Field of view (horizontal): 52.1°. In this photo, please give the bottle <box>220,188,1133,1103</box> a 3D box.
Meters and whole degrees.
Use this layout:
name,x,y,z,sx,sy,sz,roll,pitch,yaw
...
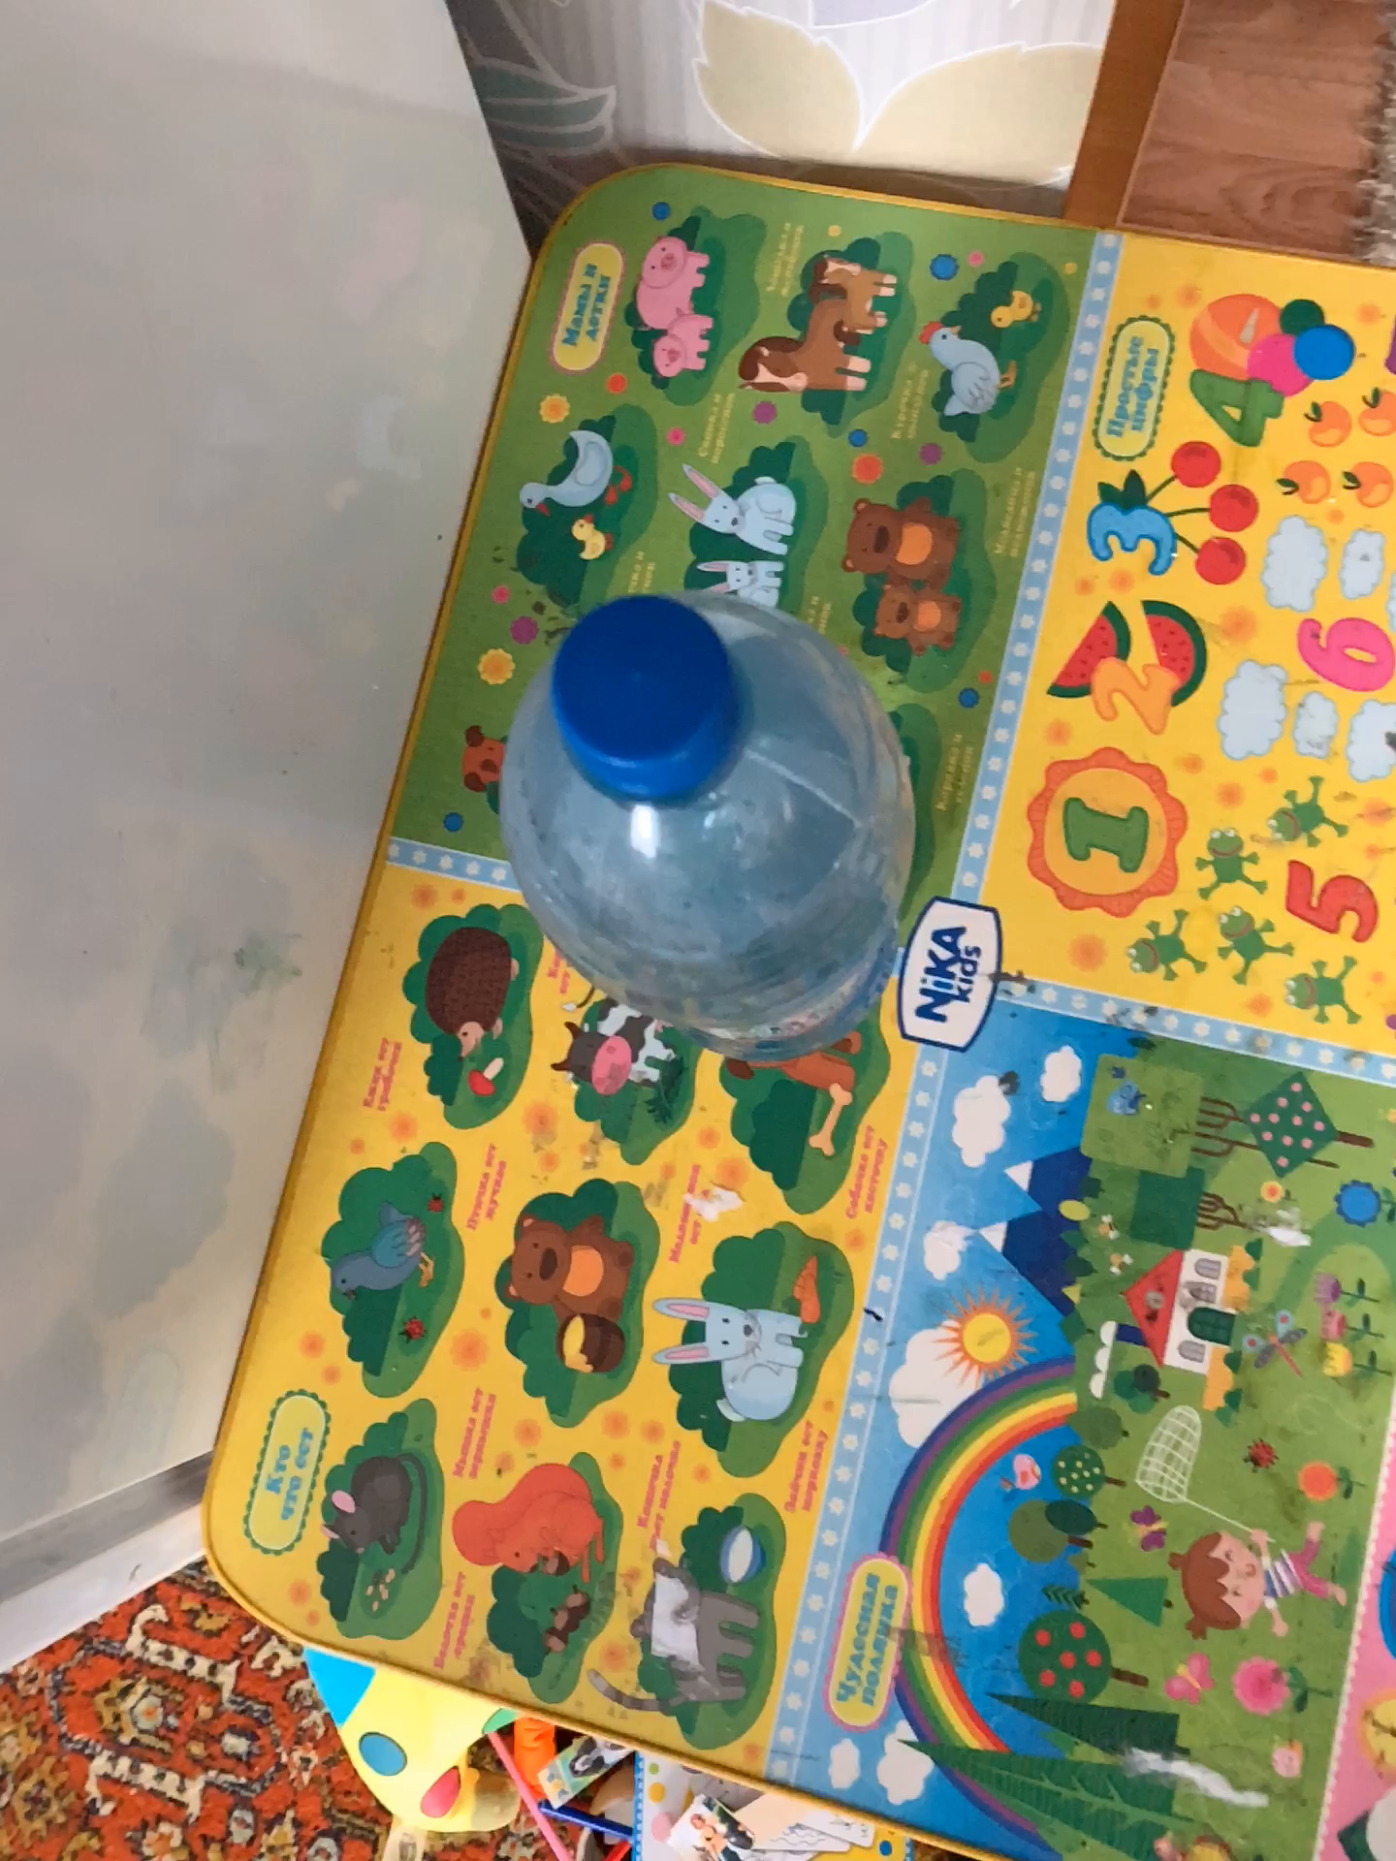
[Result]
name,x,y,z,sx,sy,sz,roll,pitch,yaw
bottle,0.012,-0.028,0.377,0.100,0.320,0.100,-1,82,6
